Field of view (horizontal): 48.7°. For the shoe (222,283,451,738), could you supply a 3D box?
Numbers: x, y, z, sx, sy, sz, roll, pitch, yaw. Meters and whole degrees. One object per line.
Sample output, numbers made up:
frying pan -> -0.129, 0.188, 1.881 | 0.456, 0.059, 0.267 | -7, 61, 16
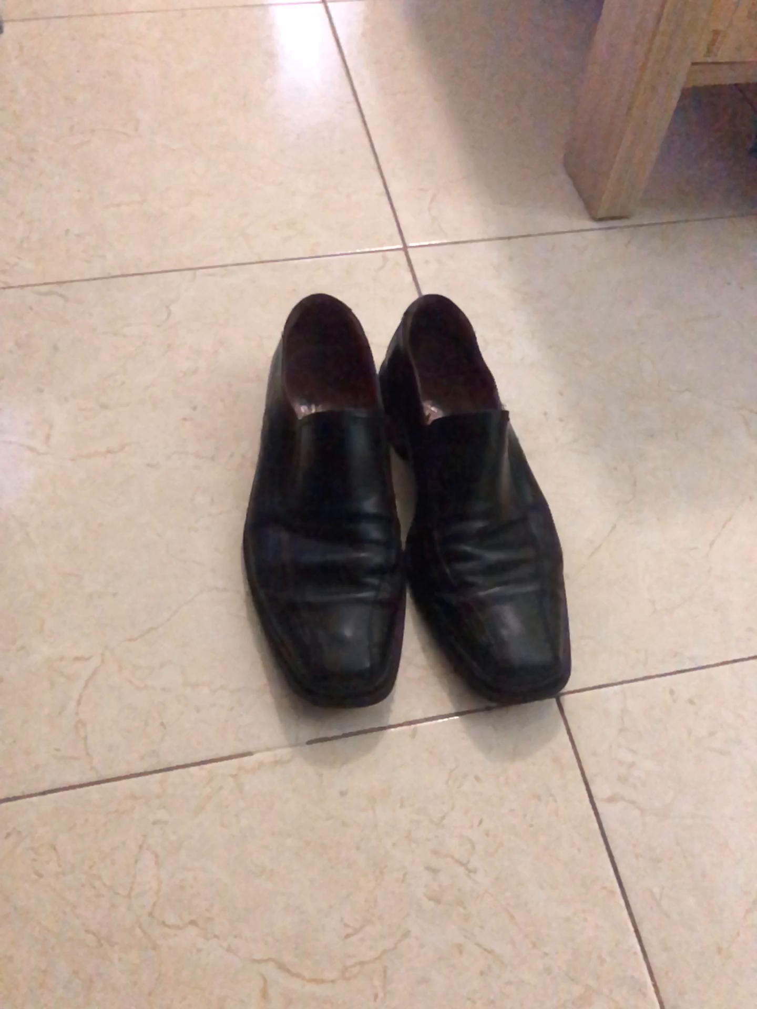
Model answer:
shoe -> -0.040, -0.010, 0.583 | 0.120, 0.090, 0.311 | -4, 57, -6

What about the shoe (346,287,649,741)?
shoe -> 0.065, -0.008, 0.595 | 0.120, 0.090, 0.311 | -8, 57, -9
